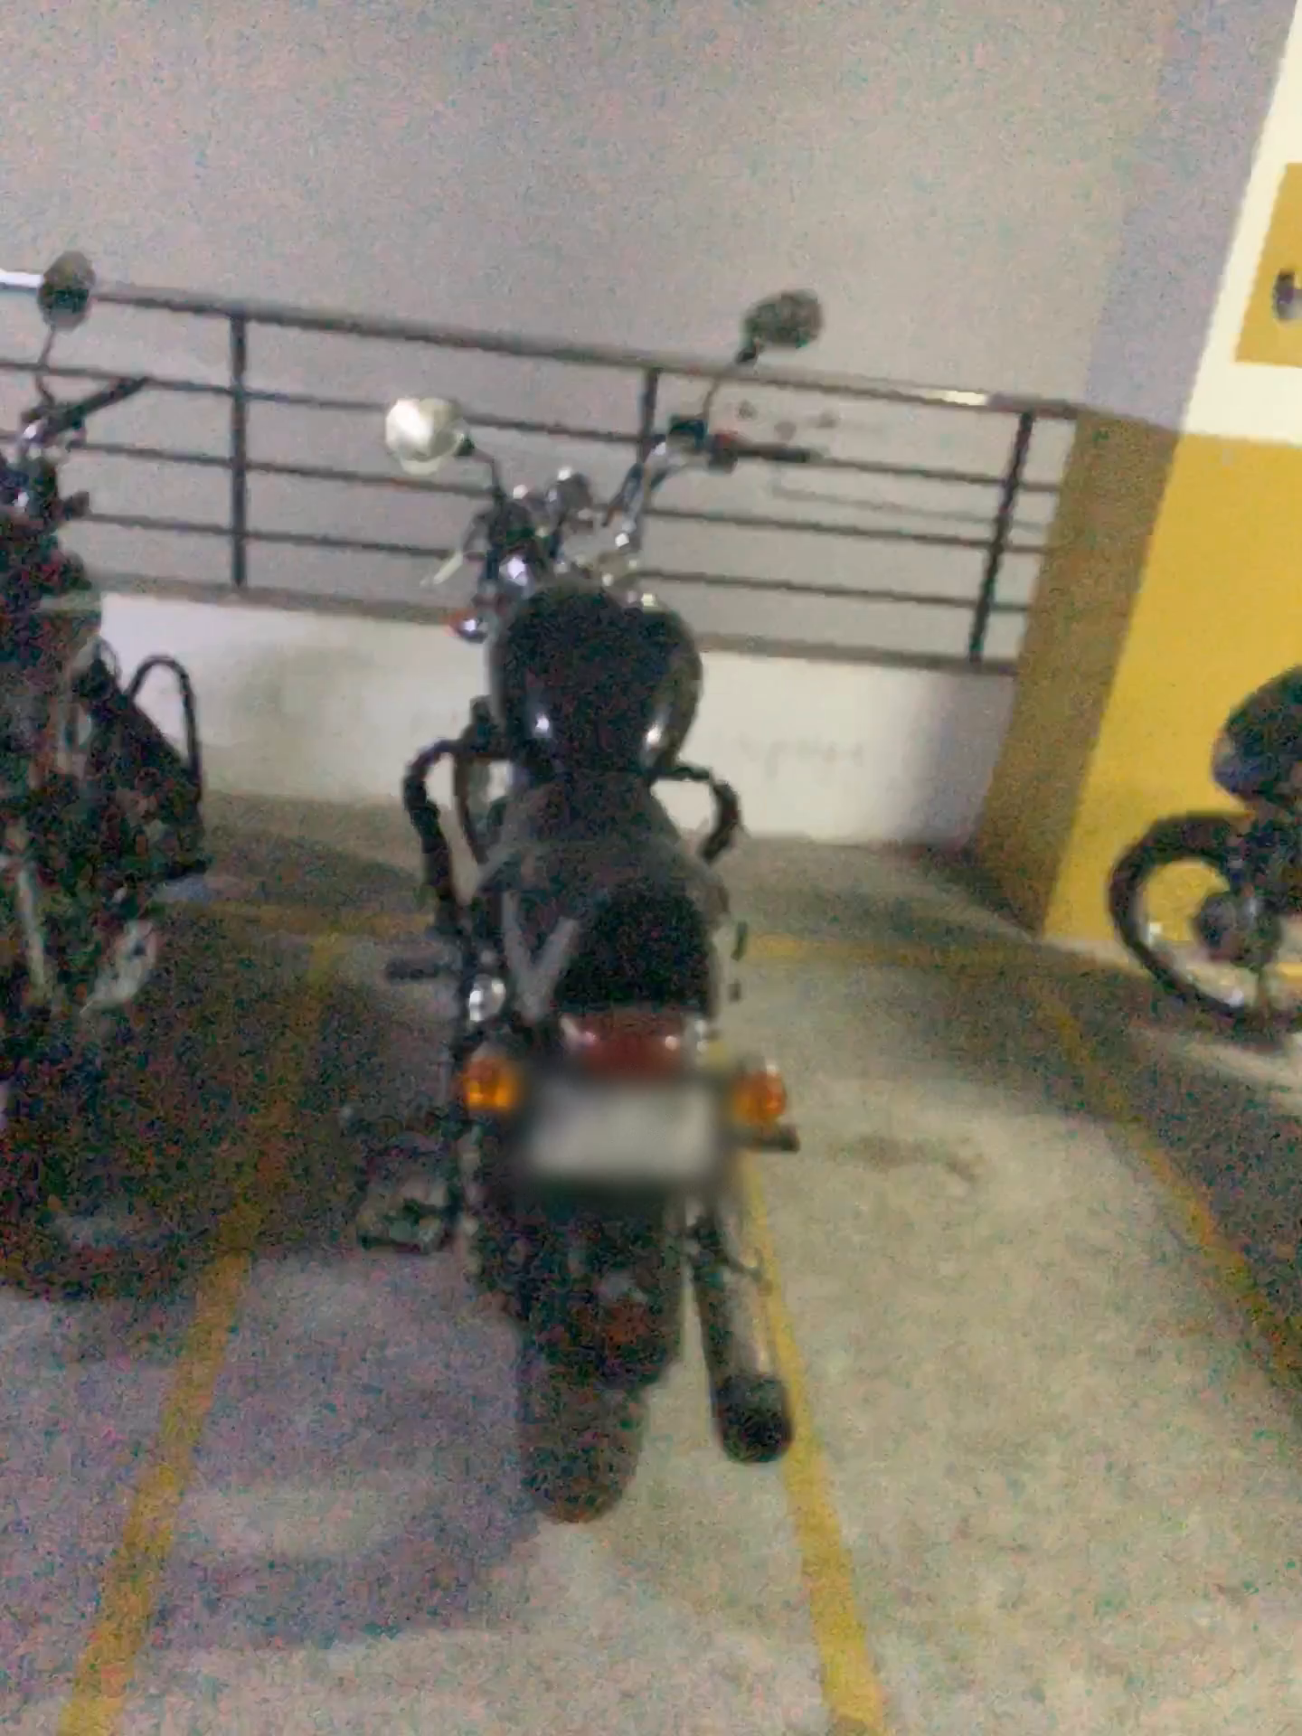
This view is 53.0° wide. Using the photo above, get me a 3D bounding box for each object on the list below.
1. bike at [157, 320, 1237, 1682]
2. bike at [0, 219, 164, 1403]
[{"bbox_3d":[-0.209,-0.047,2.038,0.851,1.233,1.805,2,26,-13],"label":"bike"},{"bbox_3d":[-1.351,-0.274,2.263,0.719,1.278,1.571,3,29,-10],"label":"bike"}]
